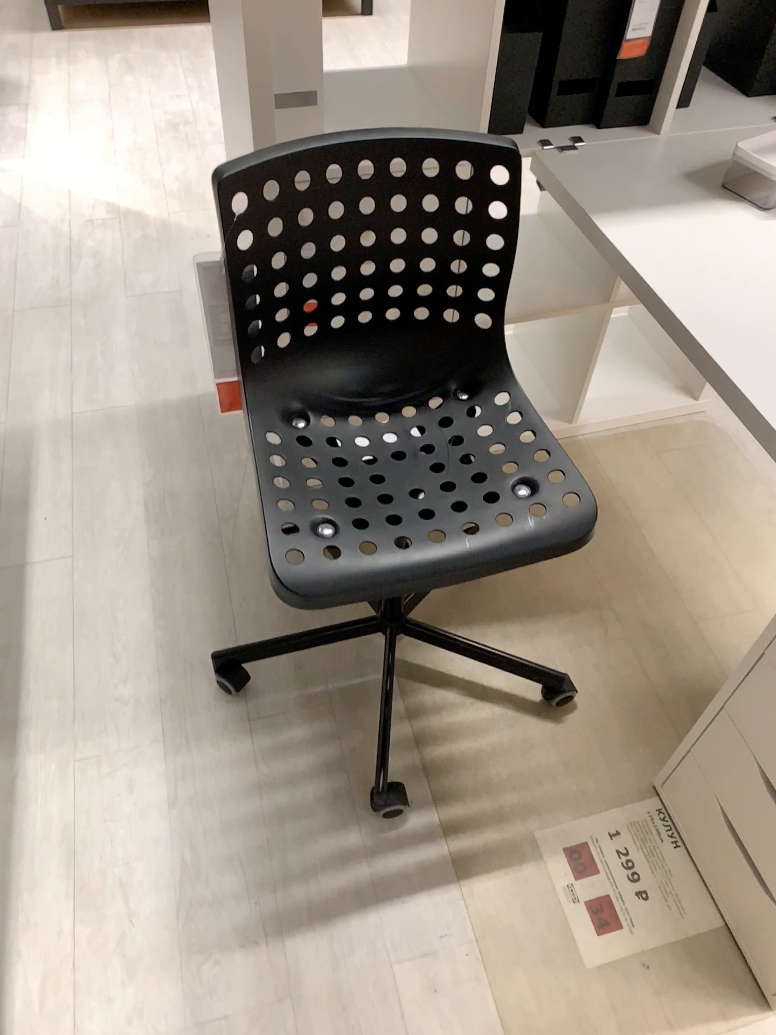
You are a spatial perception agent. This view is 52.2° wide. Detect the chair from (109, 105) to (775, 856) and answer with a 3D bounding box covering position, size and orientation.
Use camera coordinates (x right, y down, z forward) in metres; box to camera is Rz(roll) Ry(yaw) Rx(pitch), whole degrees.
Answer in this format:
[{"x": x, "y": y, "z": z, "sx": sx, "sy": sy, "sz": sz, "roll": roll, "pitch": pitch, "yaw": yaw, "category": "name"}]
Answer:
[{"x": 0.002, "y": -0.046, "z": 1.303, "sx": 0.680, "sy": 0.866, "sz": 0.753, "roll": -10, "pitch": 51, "yaw": -11, "category": "chair"}]
